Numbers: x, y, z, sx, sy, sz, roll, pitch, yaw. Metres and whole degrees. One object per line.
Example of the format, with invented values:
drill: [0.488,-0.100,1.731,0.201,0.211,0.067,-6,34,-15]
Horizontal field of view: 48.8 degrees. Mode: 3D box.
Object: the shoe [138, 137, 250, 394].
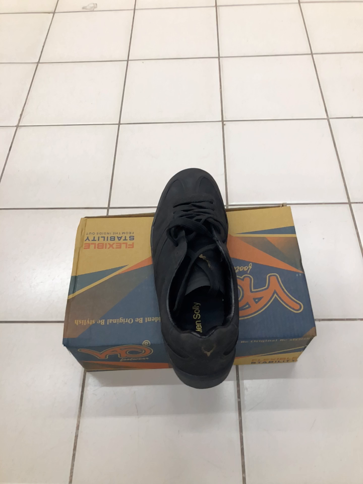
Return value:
shoe: [0.004,0.014,0.425,0.090,0.080,0.261,-4,58,0]
